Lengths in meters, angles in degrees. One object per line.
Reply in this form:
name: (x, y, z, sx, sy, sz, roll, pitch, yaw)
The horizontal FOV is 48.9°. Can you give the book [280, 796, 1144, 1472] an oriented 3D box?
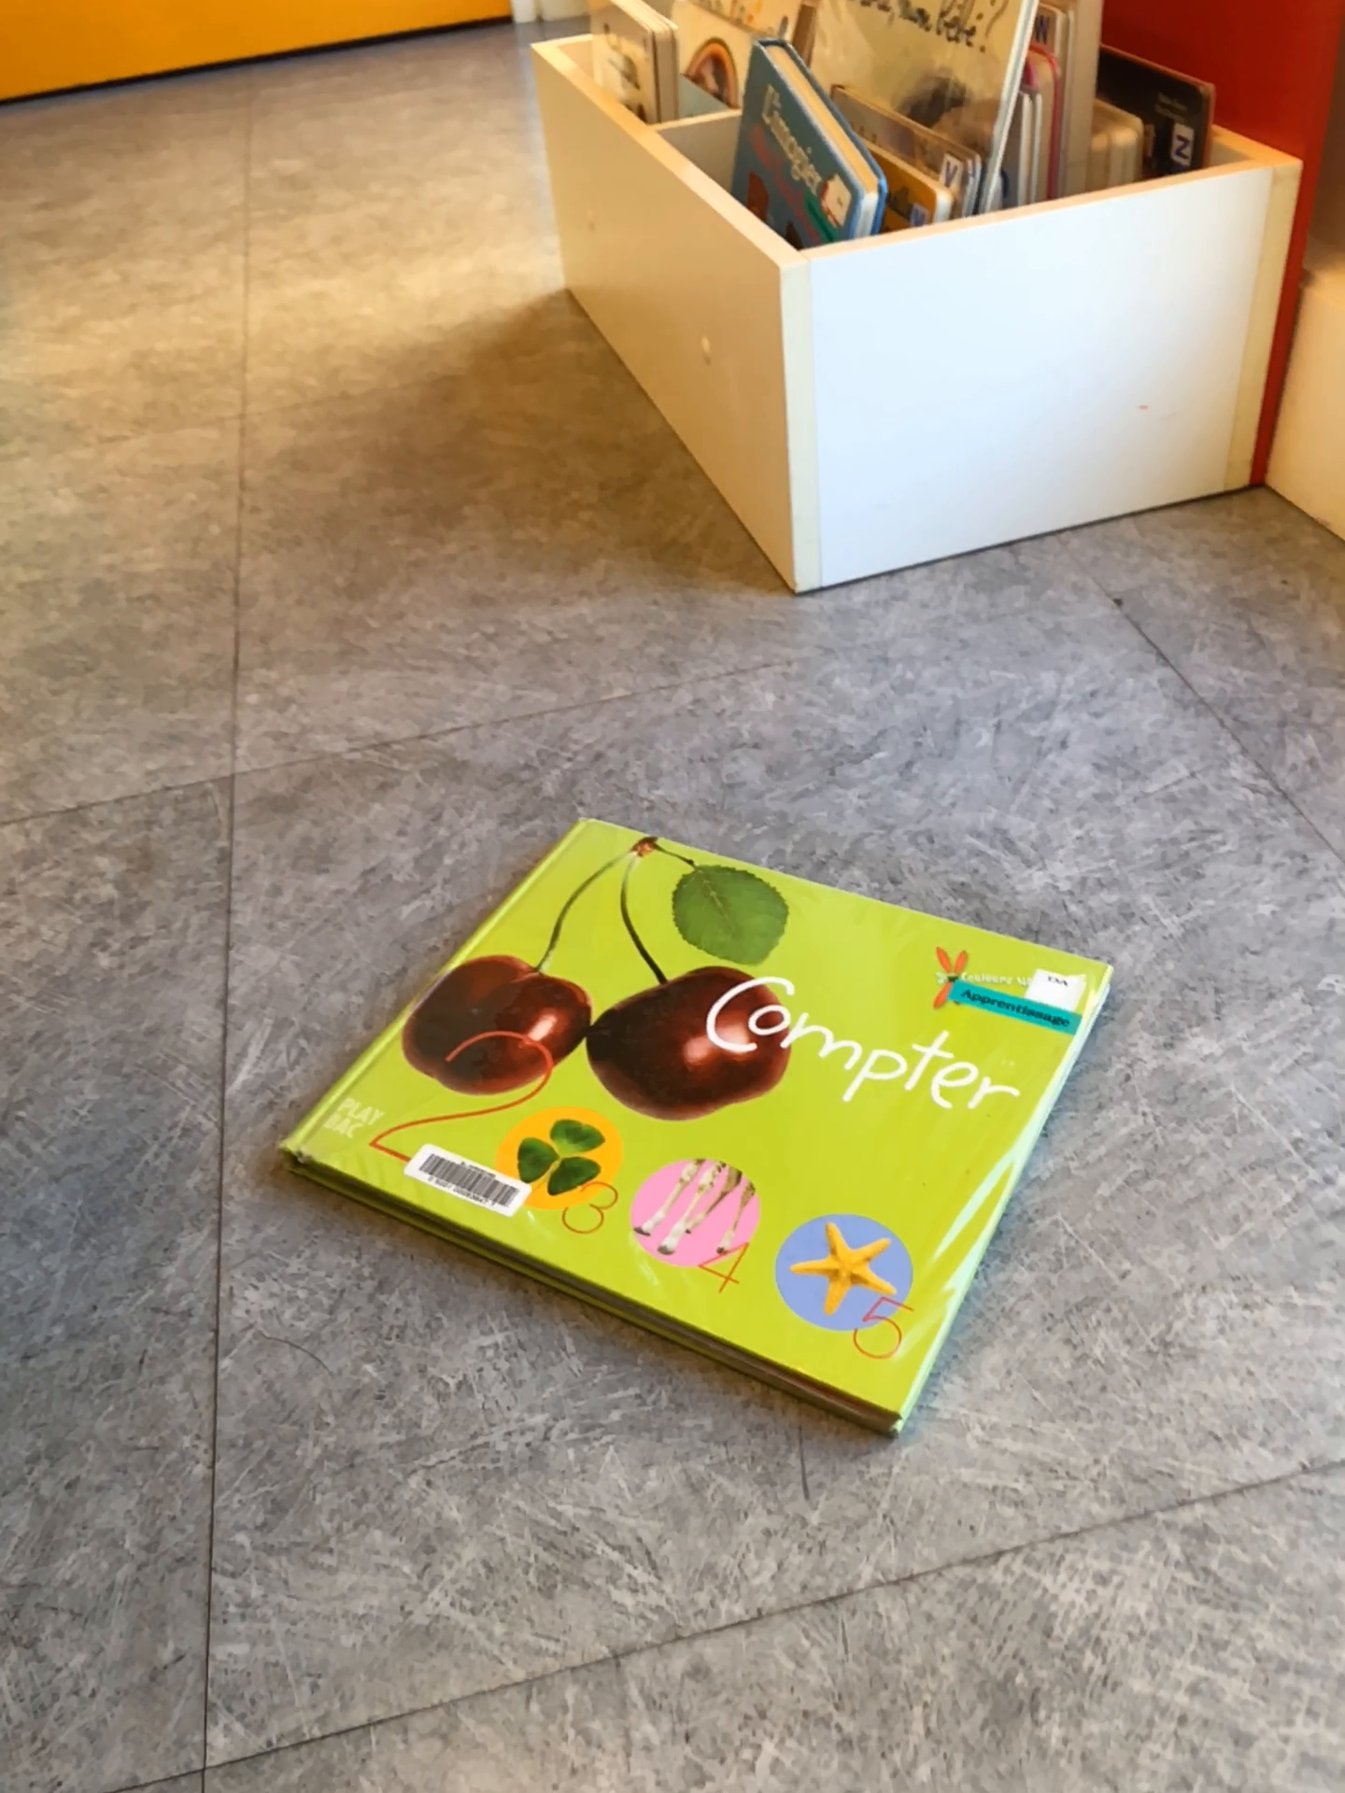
book: (0.020, 0.065, 0.569, 0.255, 0.021, 0.223, 17, 48, 25)
